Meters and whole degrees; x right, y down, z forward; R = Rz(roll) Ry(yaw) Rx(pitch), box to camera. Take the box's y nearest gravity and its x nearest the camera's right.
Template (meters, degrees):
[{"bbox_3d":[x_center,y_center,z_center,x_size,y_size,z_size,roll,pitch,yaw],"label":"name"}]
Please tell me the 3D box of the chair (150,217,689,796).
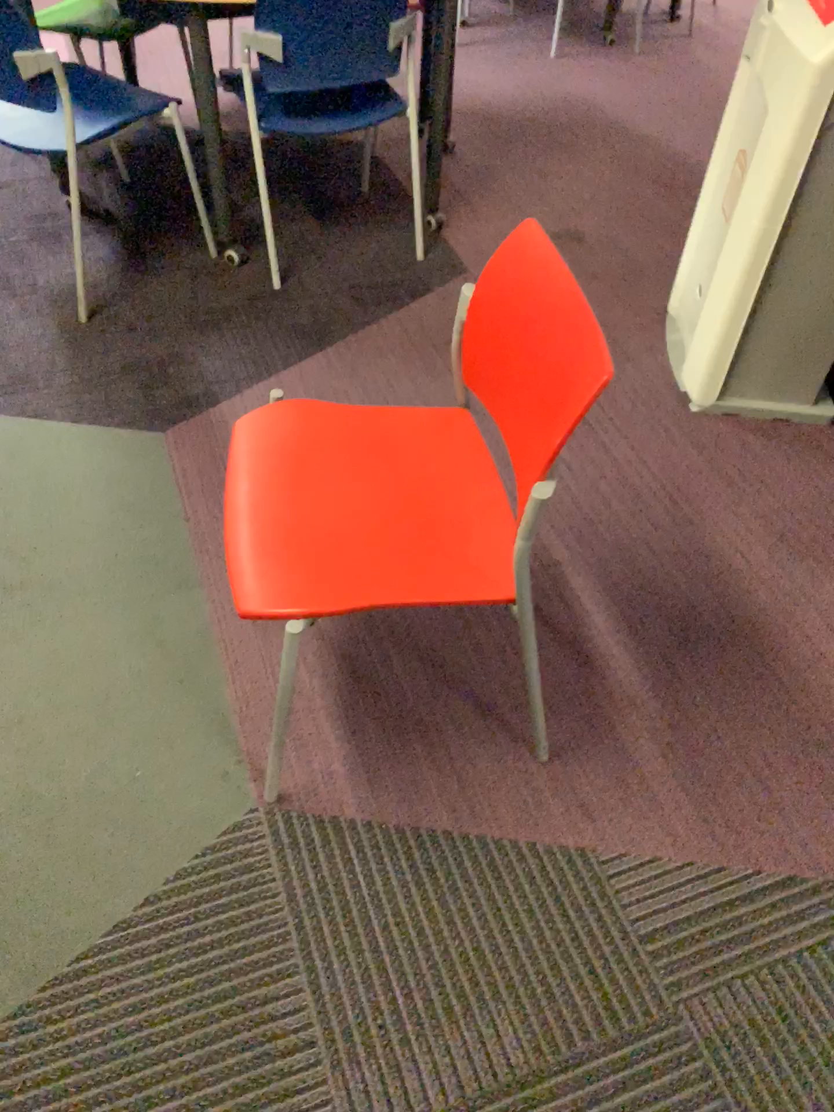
[{"bbox_3d":[-0.025,-0.069,1.317,0.560,0.684,0.545,-2,45,-5],"label":"chair"}]
